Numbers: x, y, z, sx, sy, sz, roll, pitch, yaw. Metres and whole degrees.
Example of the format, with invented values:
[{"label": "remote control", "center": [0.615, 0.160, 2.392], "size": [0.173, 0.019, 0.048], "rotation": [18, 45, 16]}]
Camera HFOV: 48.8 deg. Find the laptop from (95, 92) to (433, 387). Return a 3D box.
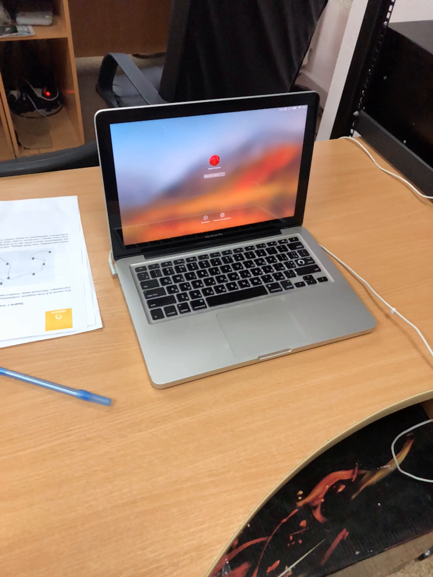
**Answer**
[{"label": "laptop", "center": [0.036, -0.083, 0.621], "size": [0.316, 0.207, 0.266], "rotation": [-13, 49, -19]}]
